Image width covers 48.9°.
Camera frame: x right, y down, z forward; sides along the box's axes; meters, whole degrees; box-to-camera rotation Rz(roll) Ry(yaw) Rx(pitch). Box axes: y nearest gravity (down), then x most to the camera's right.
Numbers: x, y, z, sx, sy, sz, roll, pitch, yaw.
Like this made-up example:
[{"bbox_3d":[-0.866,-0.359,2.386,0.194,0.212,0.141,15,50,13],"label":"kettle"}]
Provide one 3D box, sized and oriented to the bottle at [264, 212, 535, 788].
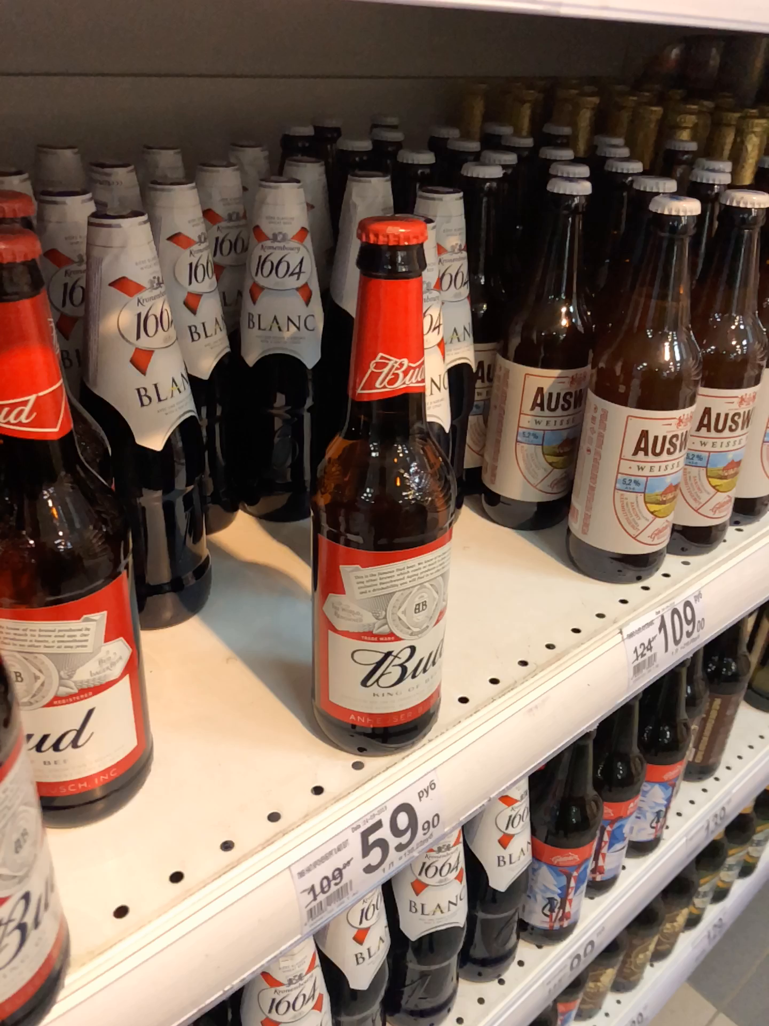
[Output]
[{"bbox_3d":[-0.002,0.000,0.391,0.080,0.248,0.070,-16,35,-30],"label":"bottle"}]
